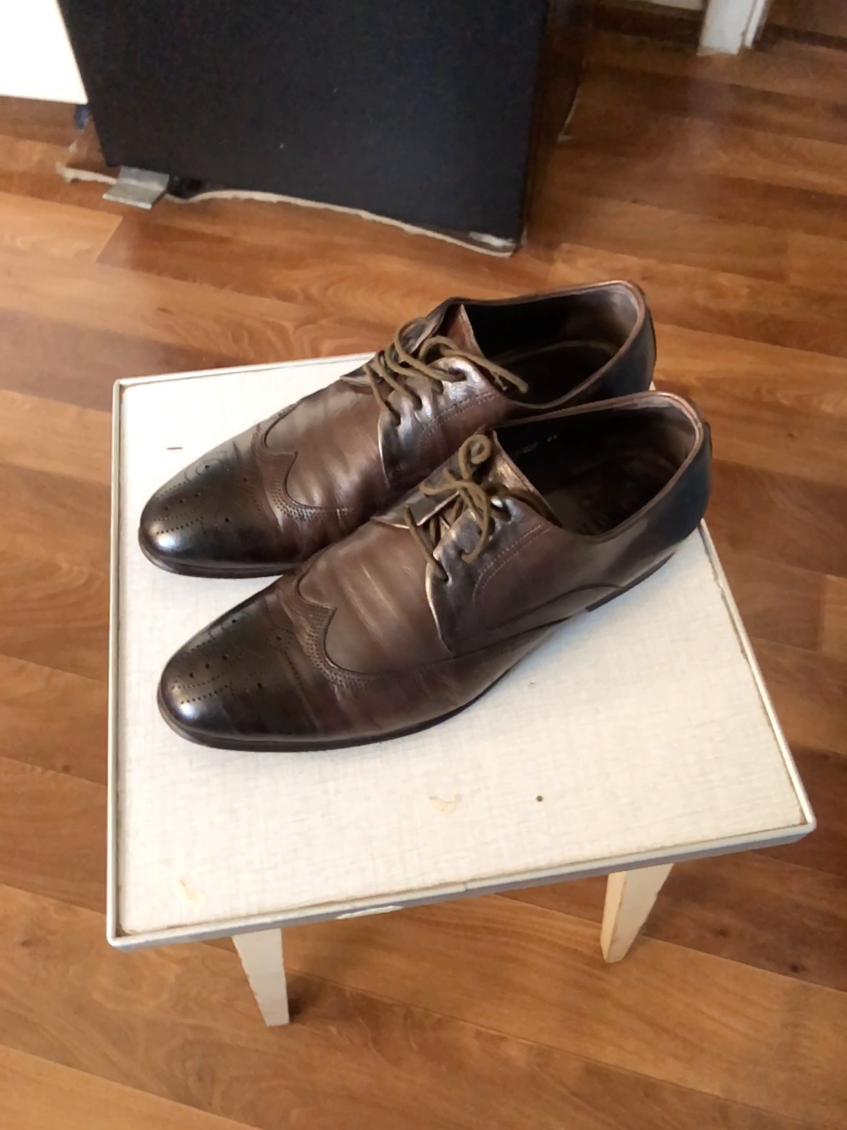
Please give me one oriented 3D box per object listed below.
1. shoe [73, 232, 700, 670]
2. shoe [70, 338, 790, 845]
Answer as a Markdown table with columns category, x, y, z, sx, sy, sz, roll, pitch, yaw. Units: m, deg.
| category | x | y | z | sx | sy | sz | roll | pitch | yaw |
| --- | --- | --- | --- | --- | --- | --- | --- | --- | --- |
| shoe | -0.015 | -0.064 | 0.497 | 0.290 | 0.100 | 0.100 | -23 | 62 | -14 |
| shoe | 0.007 | 0.008 | 0.437 | 0.290 | 0.100 | 0.100 | -23 | 62 | -14 |
